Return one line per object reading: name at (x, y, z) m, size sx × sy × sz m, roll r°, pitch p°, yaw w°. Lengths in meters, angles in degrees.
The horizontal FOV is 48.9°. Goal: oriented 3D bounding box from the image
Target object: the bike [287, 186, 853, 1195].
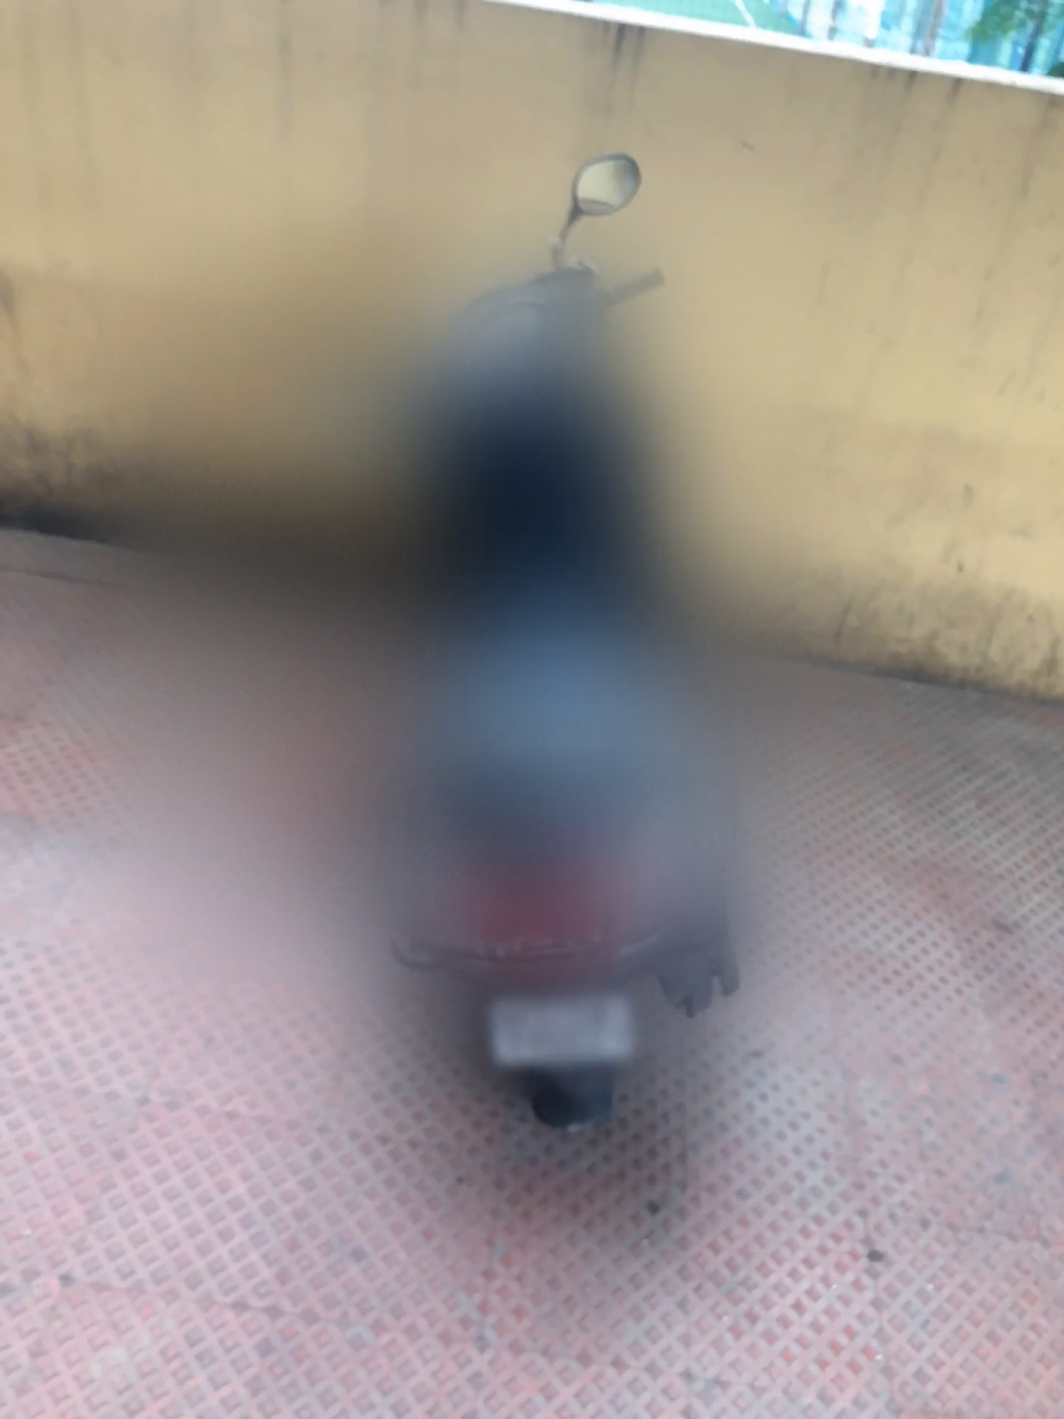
bike at (-0.004, -0.138, 2.148) m, size 0.578 × 1.139 × 1.489 m, roll 7°, pitch 36°, yaw -4°
